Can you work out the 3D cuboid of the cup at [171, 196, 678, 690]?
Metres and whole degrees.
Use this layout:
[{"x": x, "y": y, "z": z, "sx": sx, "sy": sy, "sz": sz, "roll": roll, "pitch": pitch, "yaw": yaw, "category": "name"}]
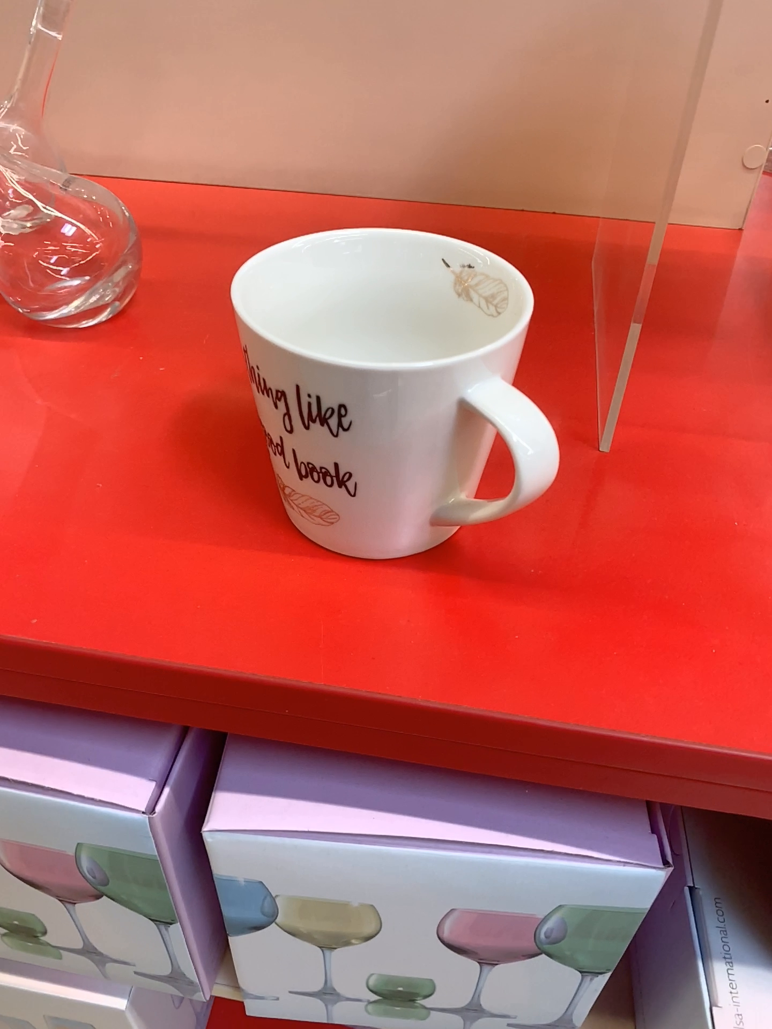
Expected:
[{"x": 0.005, "y": -0.034, "z": 0.267, "sx": 0.090, "sy": 0.090, "sz": 0.130, "roll": -25, "pitch": 47, "yaw": -28, "category": "cup"}]
